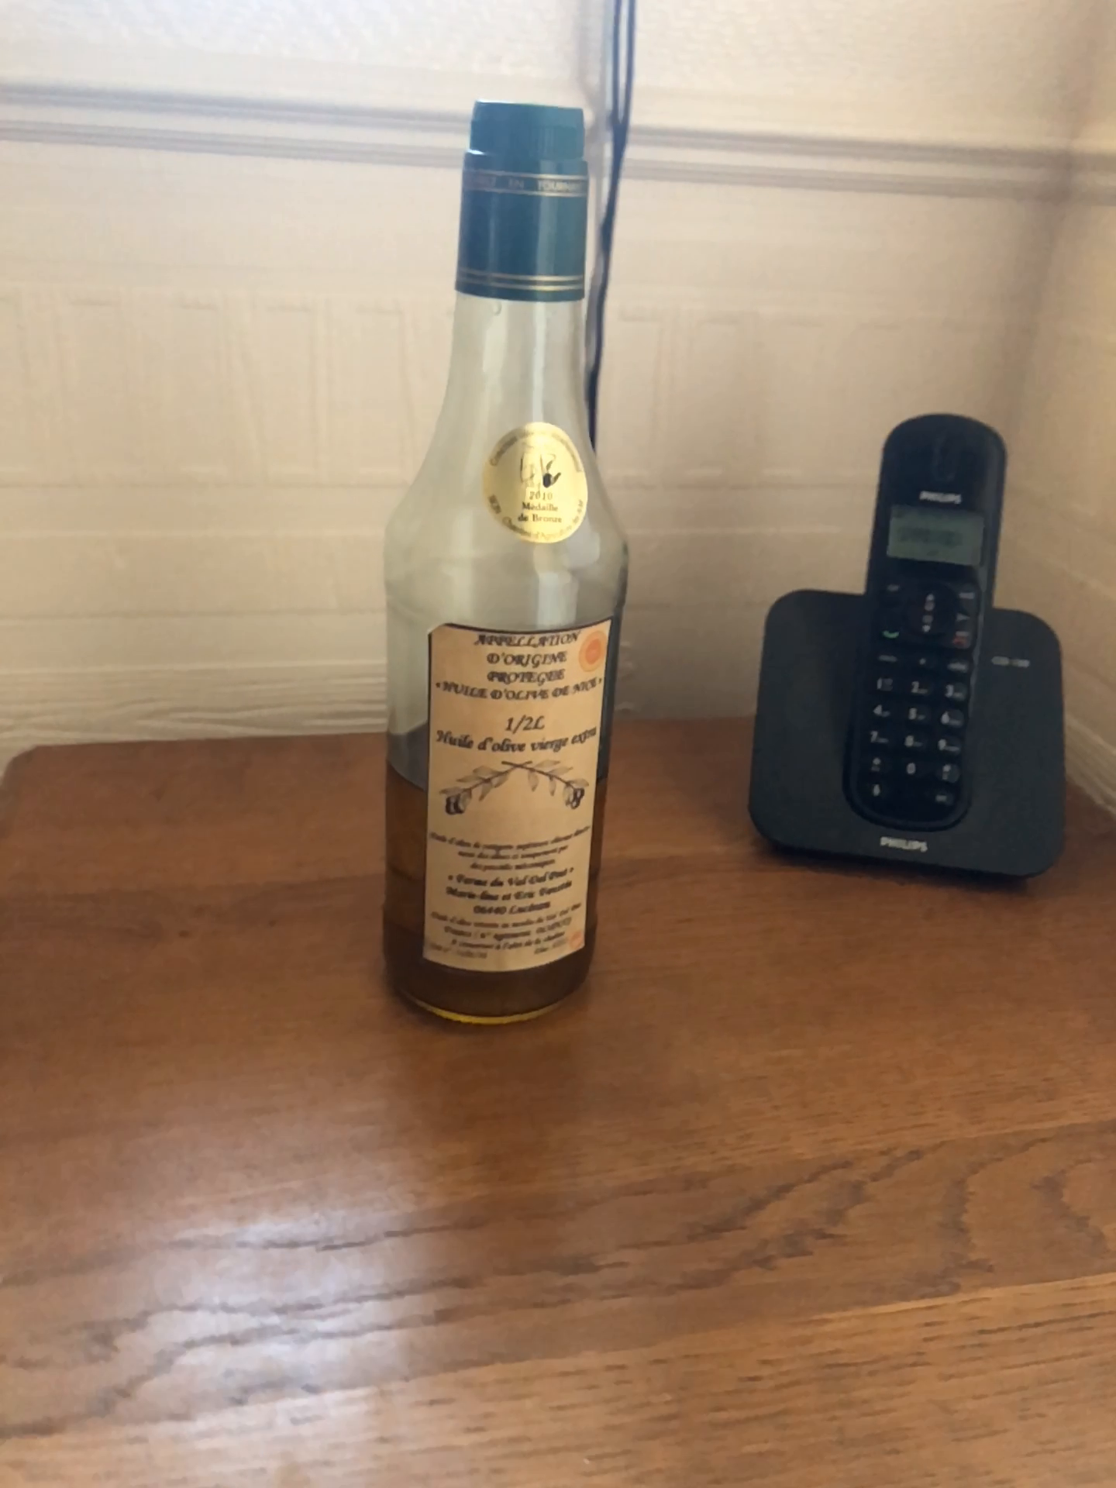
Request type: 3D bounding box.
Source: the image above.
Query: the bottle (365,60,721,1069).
[{"bbox_3d":[-0.014,-0.041,0.348,0.070,0.259,0.080,-2,26,-12],"label":"bottle"}]
